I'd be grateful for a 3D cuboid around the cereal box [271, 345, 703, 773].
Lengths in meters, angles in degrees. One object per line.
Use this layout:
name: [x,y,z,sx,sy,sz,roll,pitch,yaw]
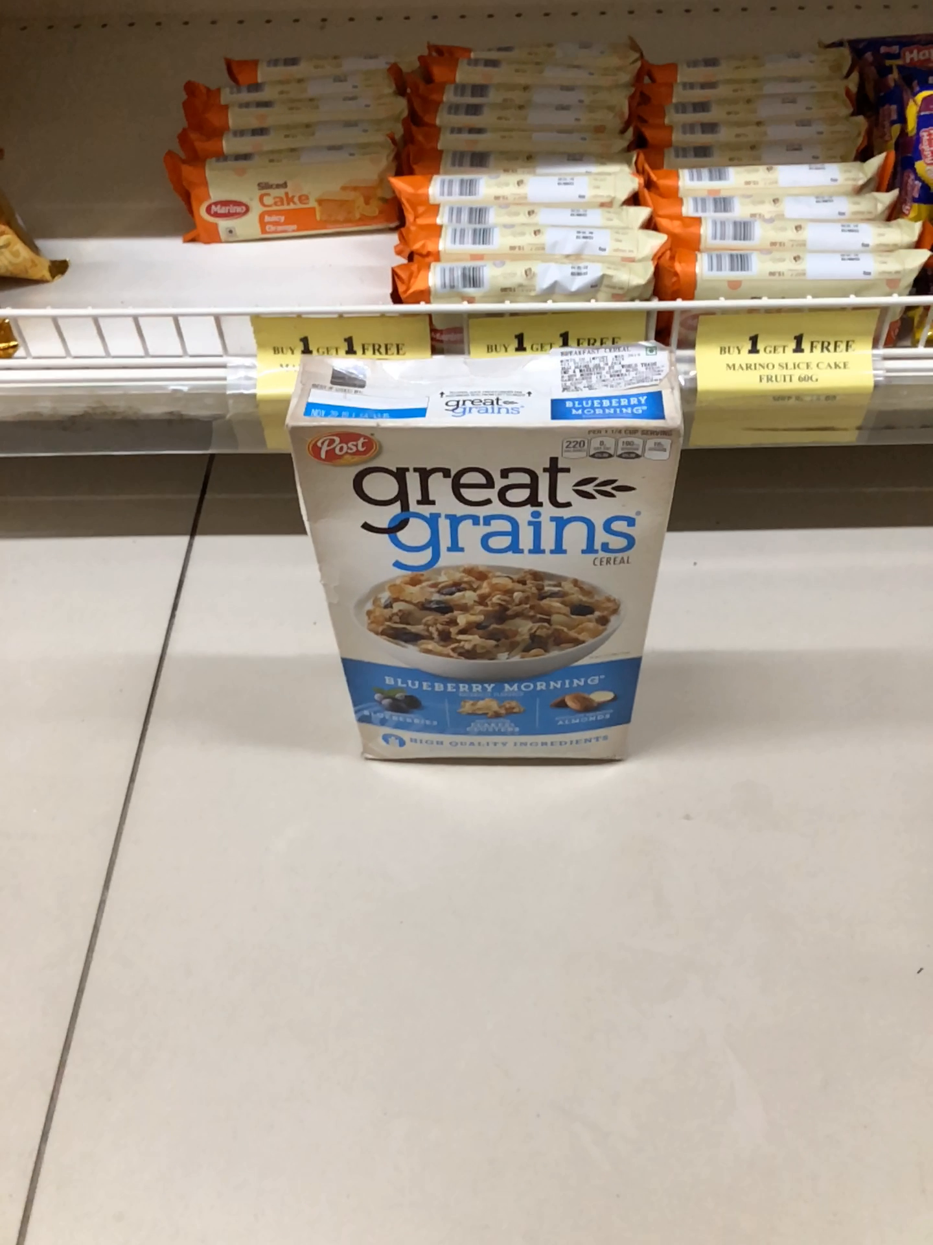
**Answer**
cereal box: [0.012,-0.014,0.525,0.170,0.259,0.060,0,52,2]
